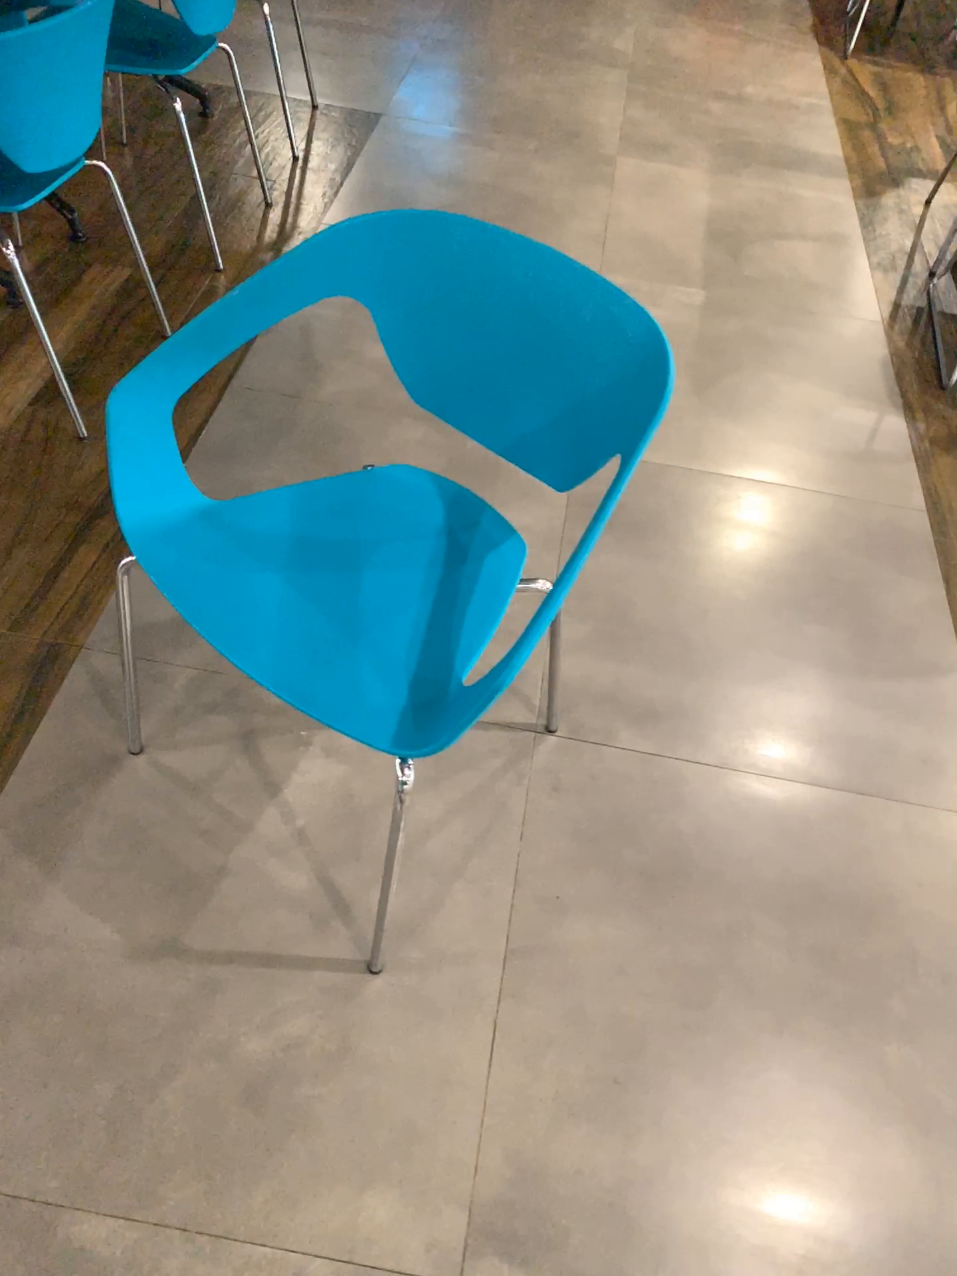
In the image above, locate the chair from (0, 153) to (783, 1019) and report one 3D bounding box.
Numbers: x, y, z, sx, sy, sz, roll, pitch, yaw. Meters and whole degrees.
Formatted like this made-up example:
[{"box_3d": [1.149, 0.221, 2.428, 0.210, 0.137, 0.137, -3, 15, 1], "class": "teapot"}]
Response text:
[{"box_3d": [-0.135, -0.071, 1.259, 0.612, 0.724, 0.593, 36, 54, 22], "class": "chair"}]
